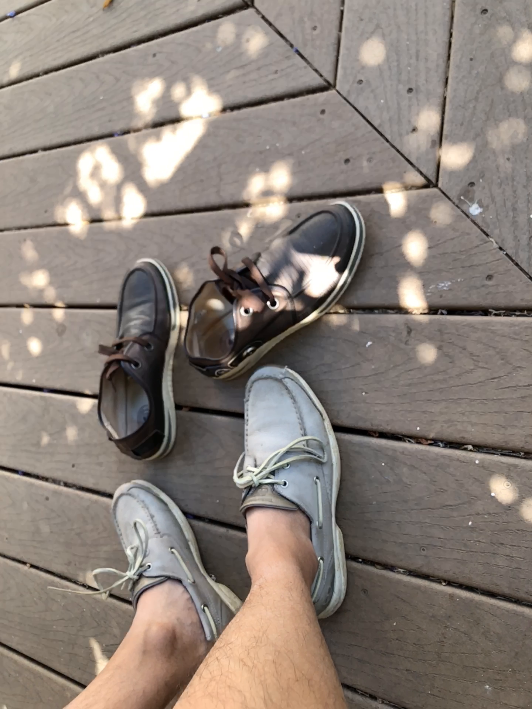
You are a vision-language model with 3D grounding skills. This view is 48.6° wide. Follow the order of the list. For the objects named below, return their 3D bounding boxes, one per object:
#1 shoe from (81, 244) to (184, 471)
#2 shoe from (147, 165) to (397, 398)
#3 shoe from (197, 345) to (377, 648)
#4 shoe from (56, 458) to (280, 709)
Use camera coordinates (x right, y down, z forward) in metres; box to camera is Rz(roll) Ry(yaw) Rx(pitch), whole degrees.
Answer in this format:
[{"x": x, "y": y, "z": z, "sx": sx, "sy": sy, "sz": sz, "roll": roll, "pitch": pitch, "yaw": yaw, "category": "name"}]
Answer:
[{"x": -0.176, "y": 0.004, "z": 0.780, "sx": 0.110, "sy": 0.069, "sz": 0.278, "roll": -1, "pitch": 87, "yaw": 31, "category": "shoe"}, {"x": -0.002, "y": -0.072, "z": 0.687, "sx": 0.277, "sy": 0.079, "sz": 0.109, "roll": -39, "pitch": 67, "yaw": 23, "category": "shoe"}, {"x": 0.021, "y": 0.149, "z": 0.647, "sx": 0.110, "sy": 0.101, "sz": 0.293, "roll": -17, "pitch": 77, "yaw": 29, "category": "shoe"}, {"x": -0.128, "y": 0.276, "z": 0.721, "sx": 0.109, "sy": 0.086, "sz": 0.293, "roll": -50, "pitch": 63, "yaw": 17, "category": "shoe"}]
